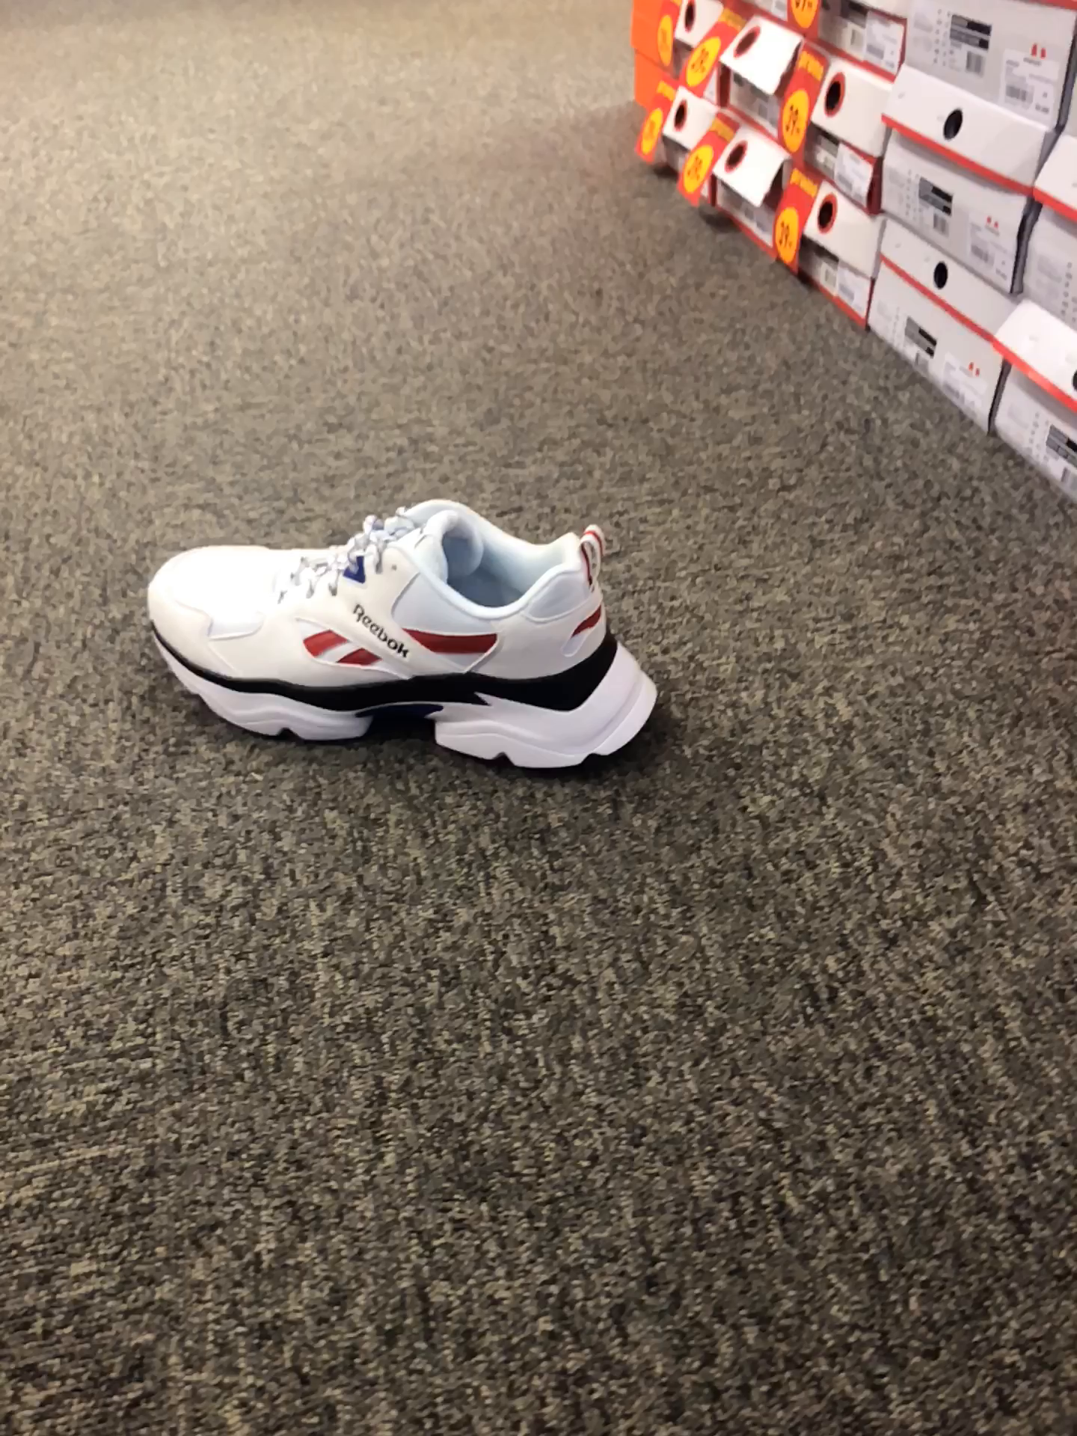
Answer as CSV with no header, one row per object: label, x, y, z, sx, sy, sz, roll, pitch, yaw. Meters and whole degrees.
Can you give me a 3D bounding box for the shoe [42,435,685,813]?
shoe,-0.085,-0.057,0.628,0.300,0.109,0.114,10,42,15
